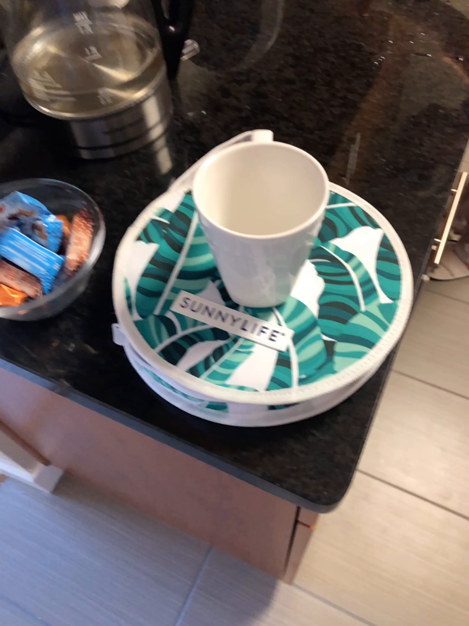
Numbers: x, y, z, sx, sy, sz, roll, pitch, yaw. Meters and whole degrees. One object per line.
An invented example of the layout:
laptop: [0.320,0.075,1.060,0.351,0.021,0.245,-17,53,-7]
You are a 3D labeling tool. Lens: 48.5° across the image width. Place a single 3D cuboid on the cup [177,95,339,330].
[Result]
cup: [0.011,-0.071,0.368,0.090,0.090,0.130,-5,57,0]
